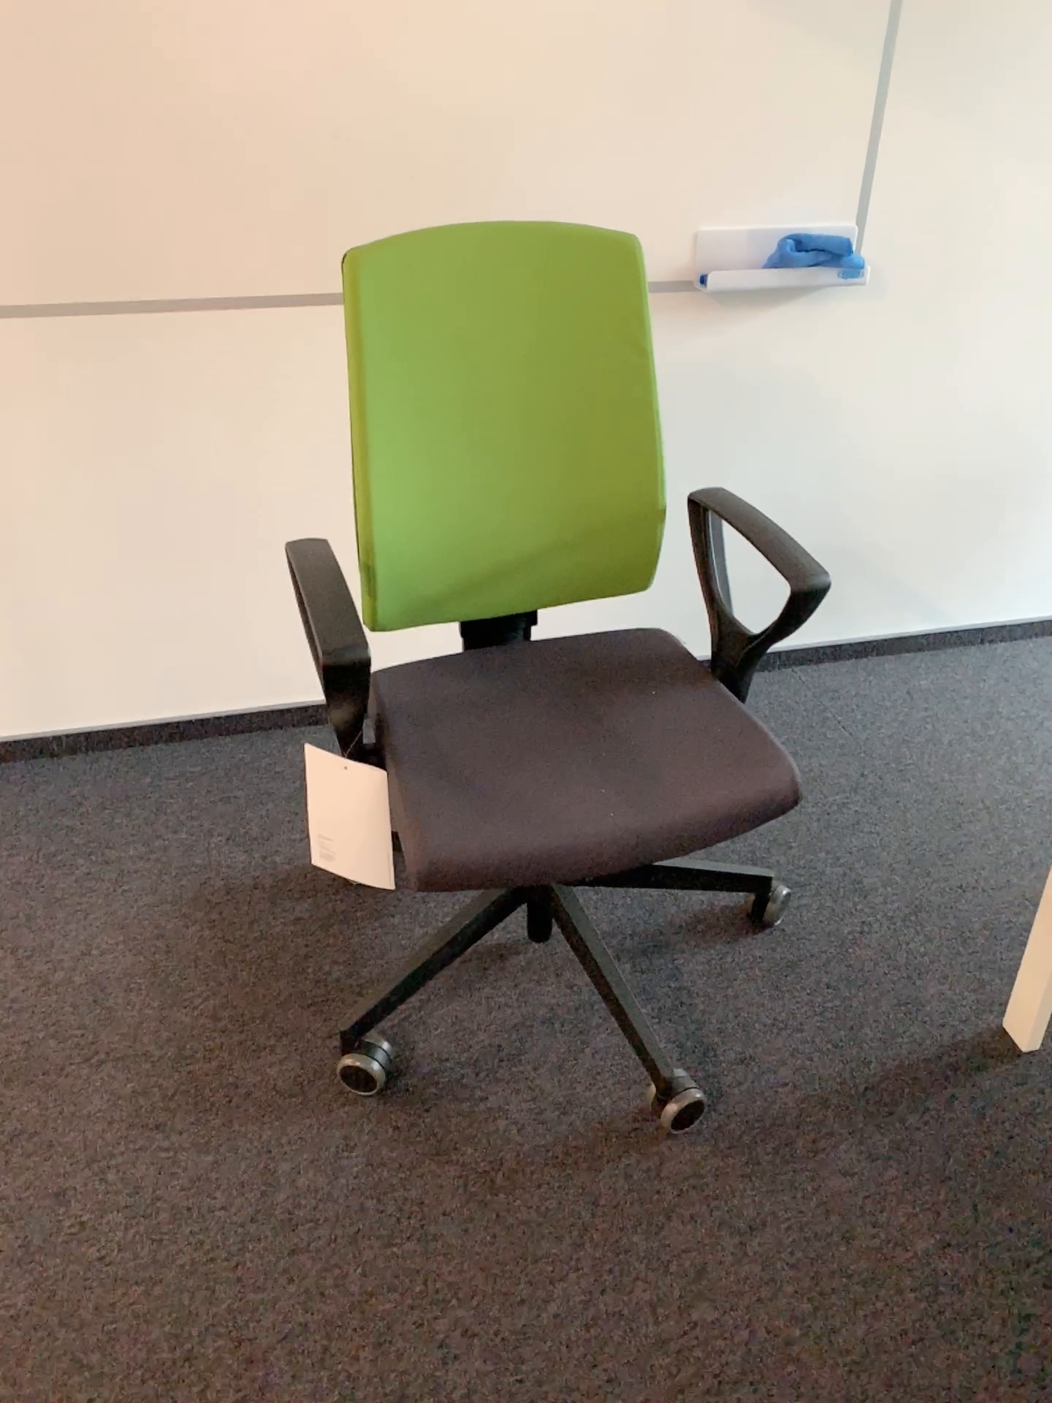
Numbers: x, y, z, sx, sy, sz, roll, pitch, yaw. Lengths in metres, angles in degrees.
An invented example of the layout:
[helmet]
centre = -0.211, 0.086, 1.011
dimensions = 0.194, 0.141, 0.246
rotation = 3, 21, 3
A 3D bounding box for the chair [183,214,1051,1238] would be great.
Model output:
[chair]
centre = 0.053, -0.039, 1.388
dimensions = 0.761, 0.964, 0.734
rotation = -10, 34, -17
